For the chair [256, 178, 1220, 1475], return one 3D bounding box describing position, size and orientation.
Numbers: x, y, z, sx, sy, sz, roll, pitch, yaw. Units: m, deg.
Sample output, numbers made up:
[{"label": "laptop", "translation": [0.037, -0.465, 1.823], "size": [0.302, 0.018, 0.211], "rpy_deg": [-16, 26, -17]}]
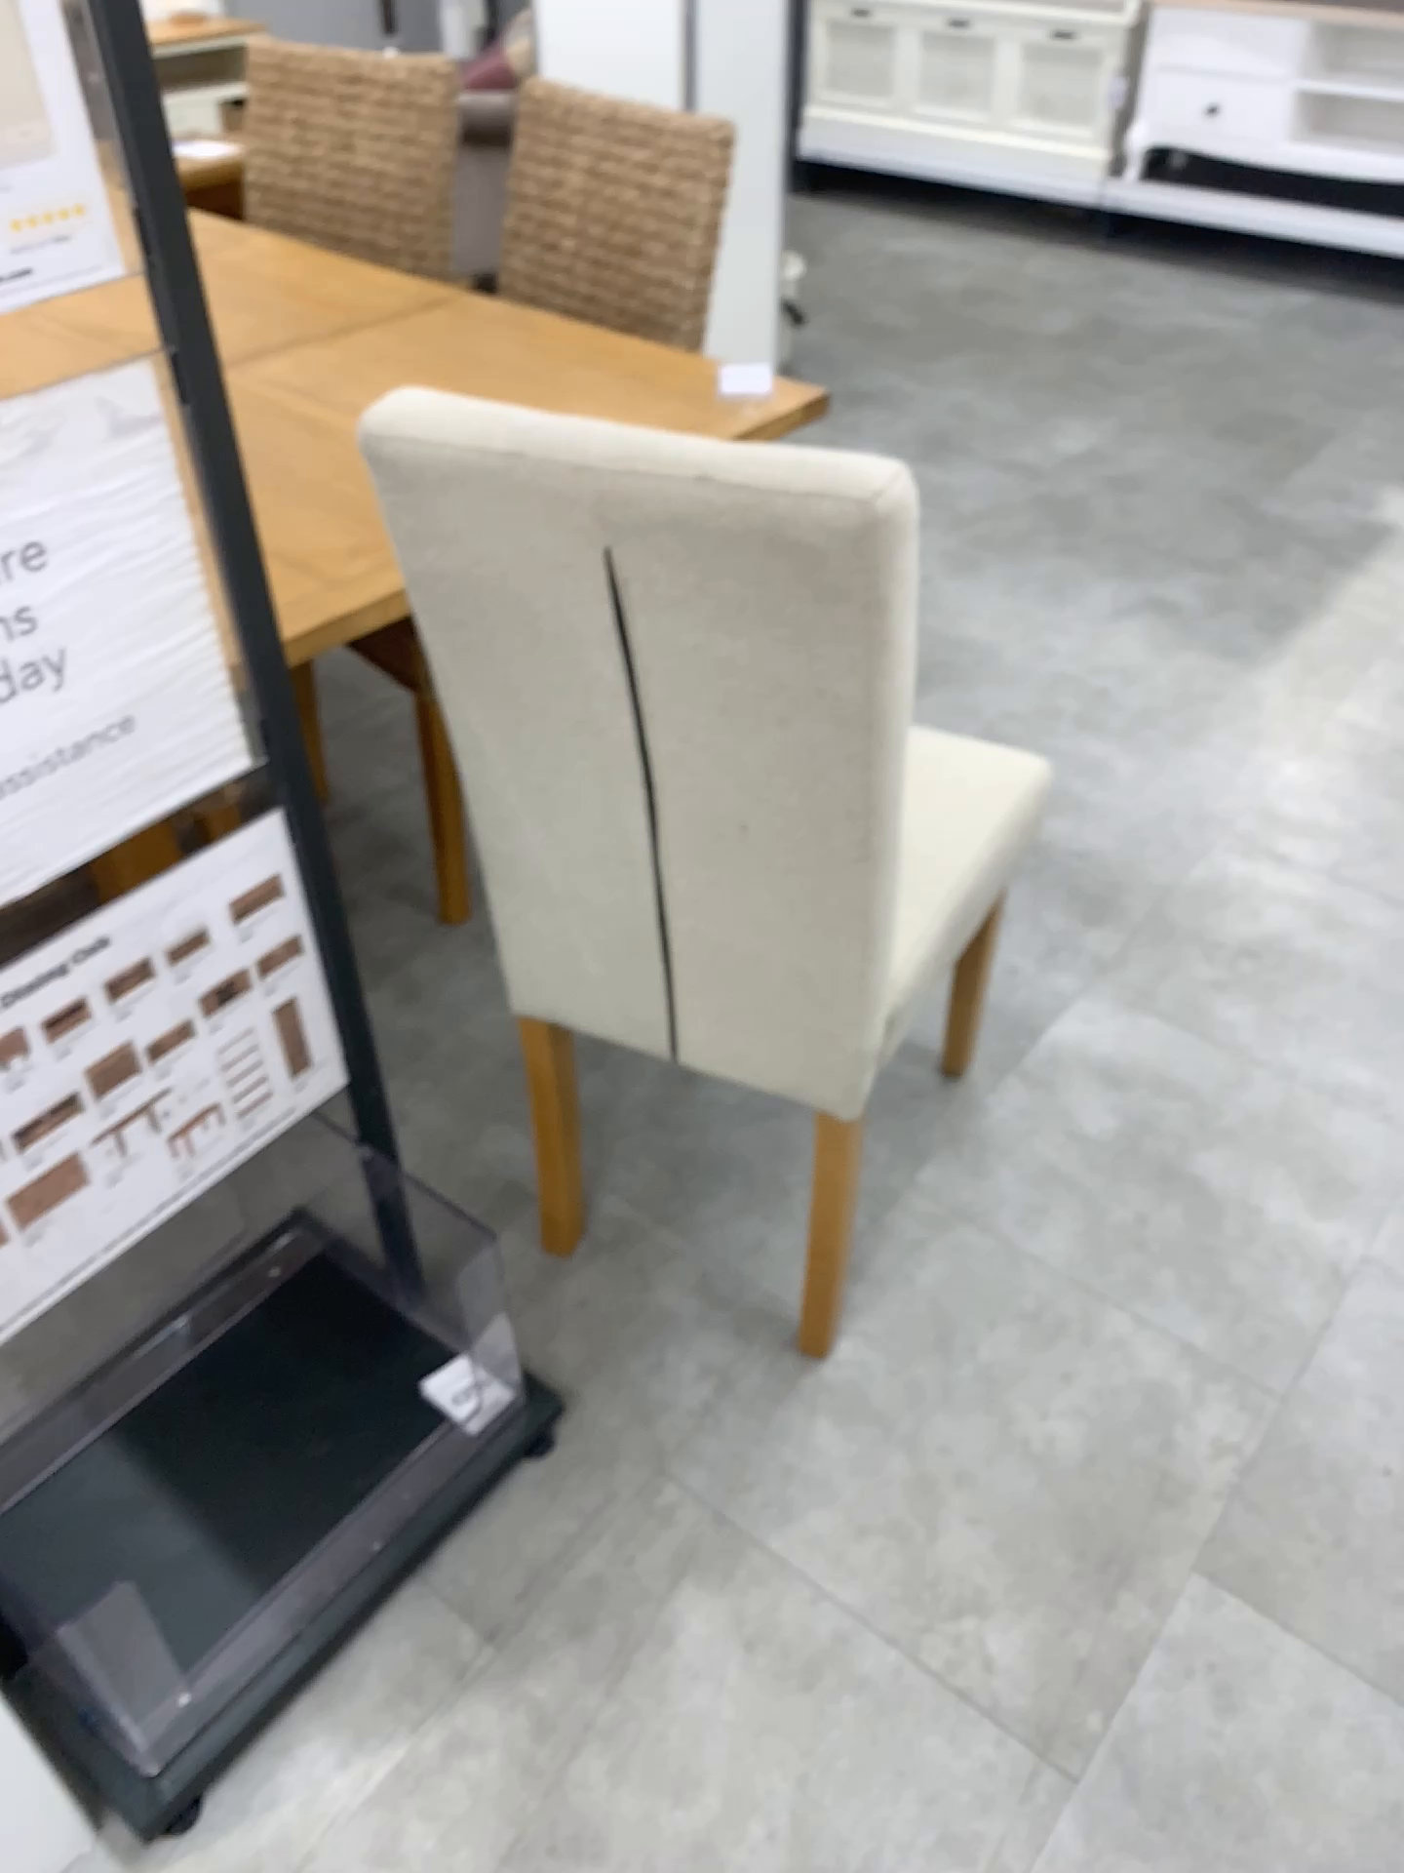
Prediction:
[{"label": "chair", "translation": [0.071, -0.104, 1.321], "size": [0.479, 0.896, 0.614], "rpy_deg": [17, 42, 19]}]
